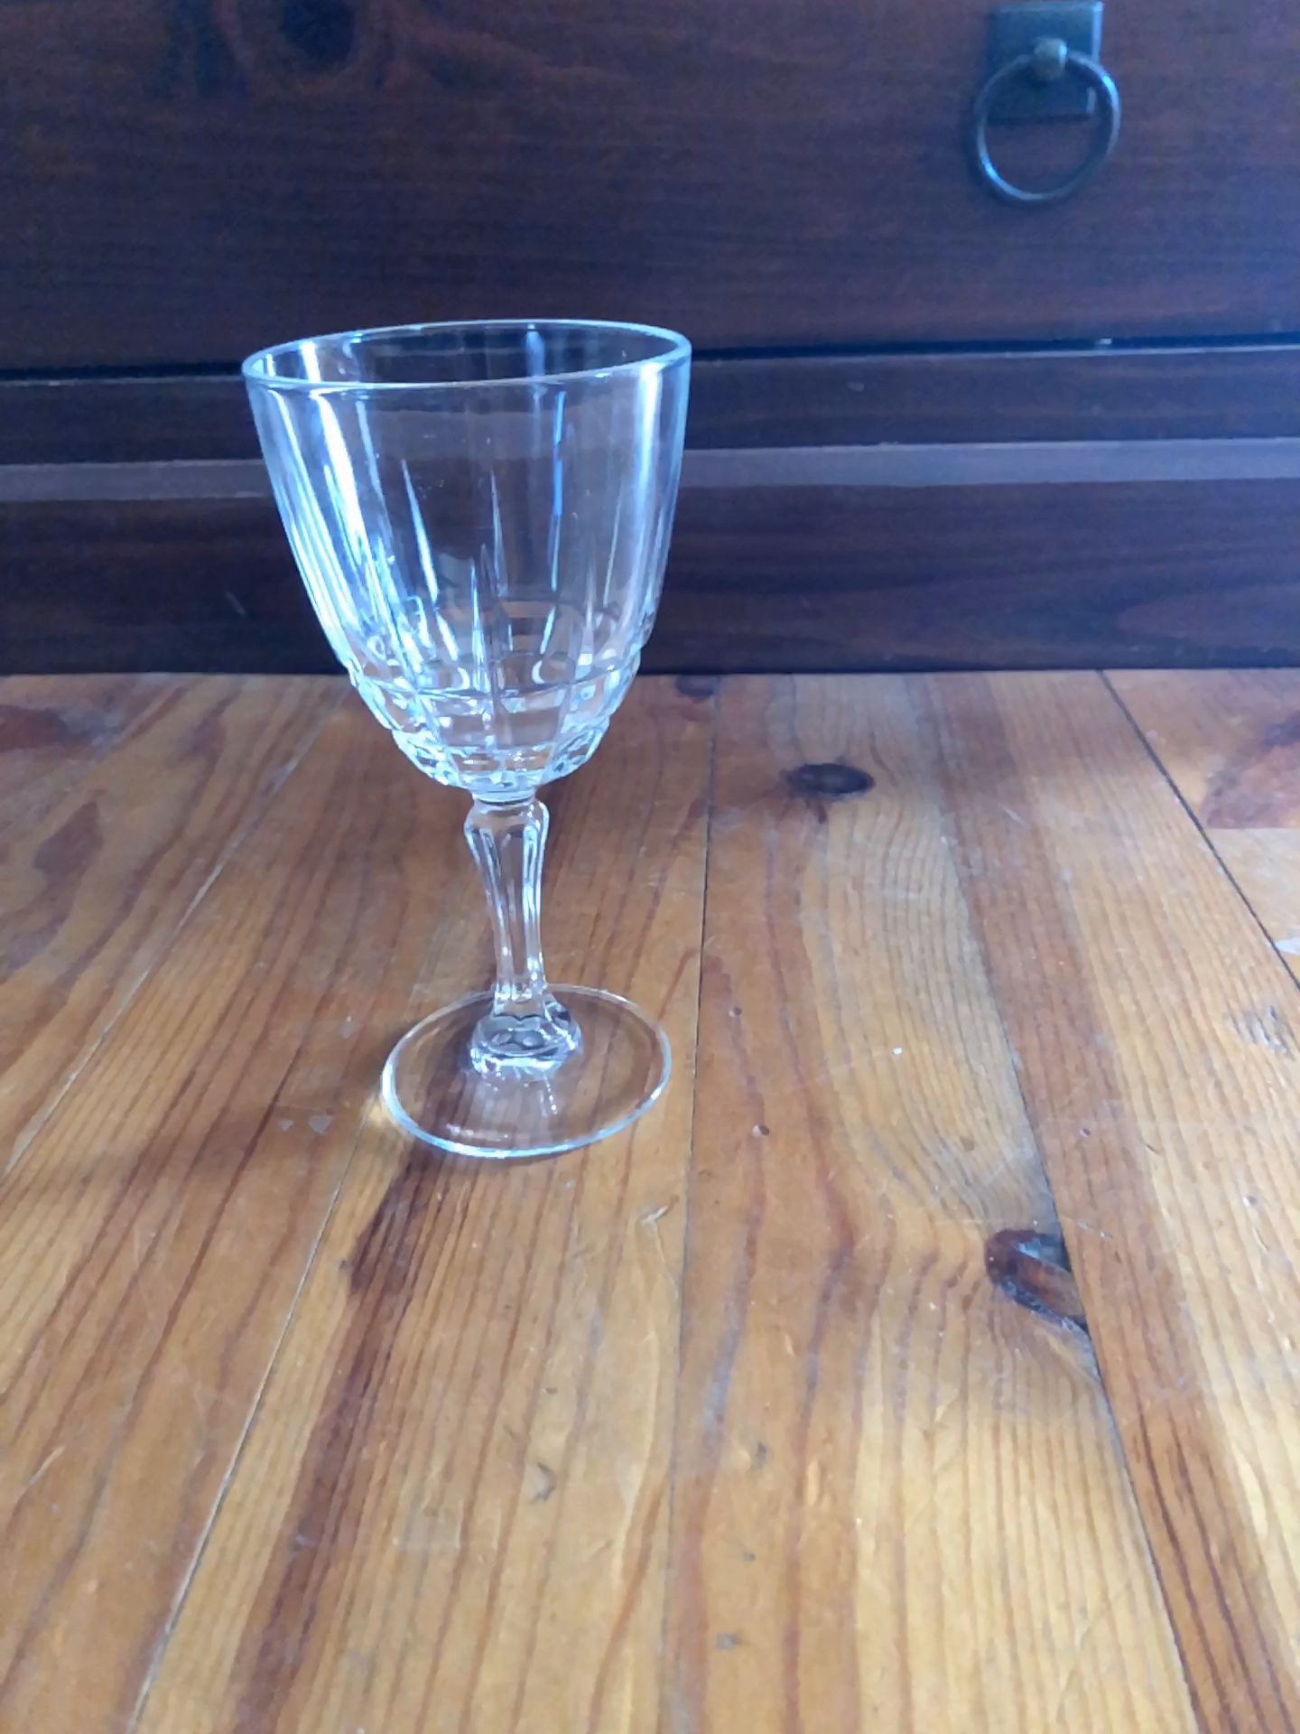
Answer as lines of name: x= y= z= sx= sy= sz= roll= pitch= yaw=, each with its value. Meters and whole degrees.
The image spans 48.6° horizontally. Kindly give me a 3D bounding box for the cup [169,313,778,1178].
cup: x=-0.023 y=-0.027 z=0.279 sx=0.084 sy=0.141 sz=0.084 roll=0 pitch=27 yaw=0
